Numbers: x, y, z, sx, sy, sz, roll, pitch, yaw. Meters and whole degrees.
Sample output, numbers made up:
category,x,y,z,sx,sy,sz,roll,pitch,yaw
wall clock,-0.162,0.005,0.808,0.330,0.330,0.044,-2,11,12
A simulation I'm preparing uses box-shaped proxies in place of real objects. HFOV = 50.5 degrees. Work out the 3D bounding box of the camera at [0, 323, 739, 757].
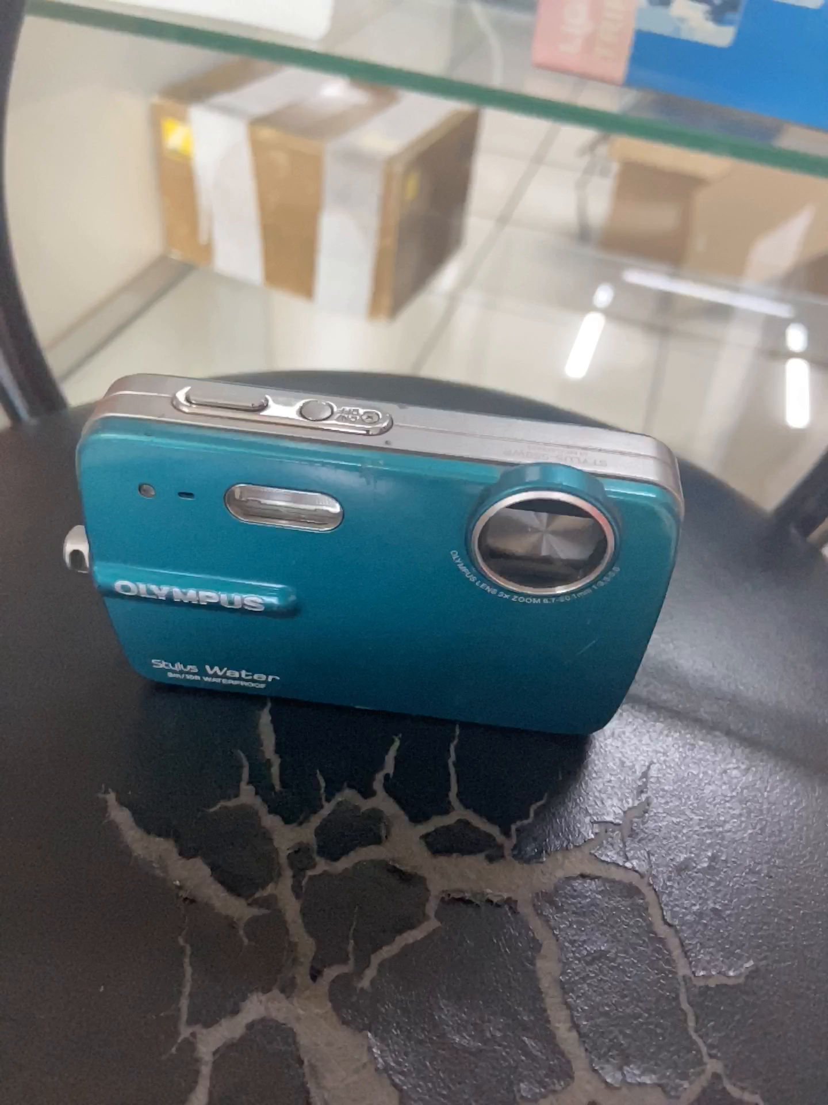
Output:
category,x,y,z,sx,sy,sz,roll,pitch,yaw
camera,-0.008,-0.001,0.141,0.100,0.050,0.030,8,43,2
